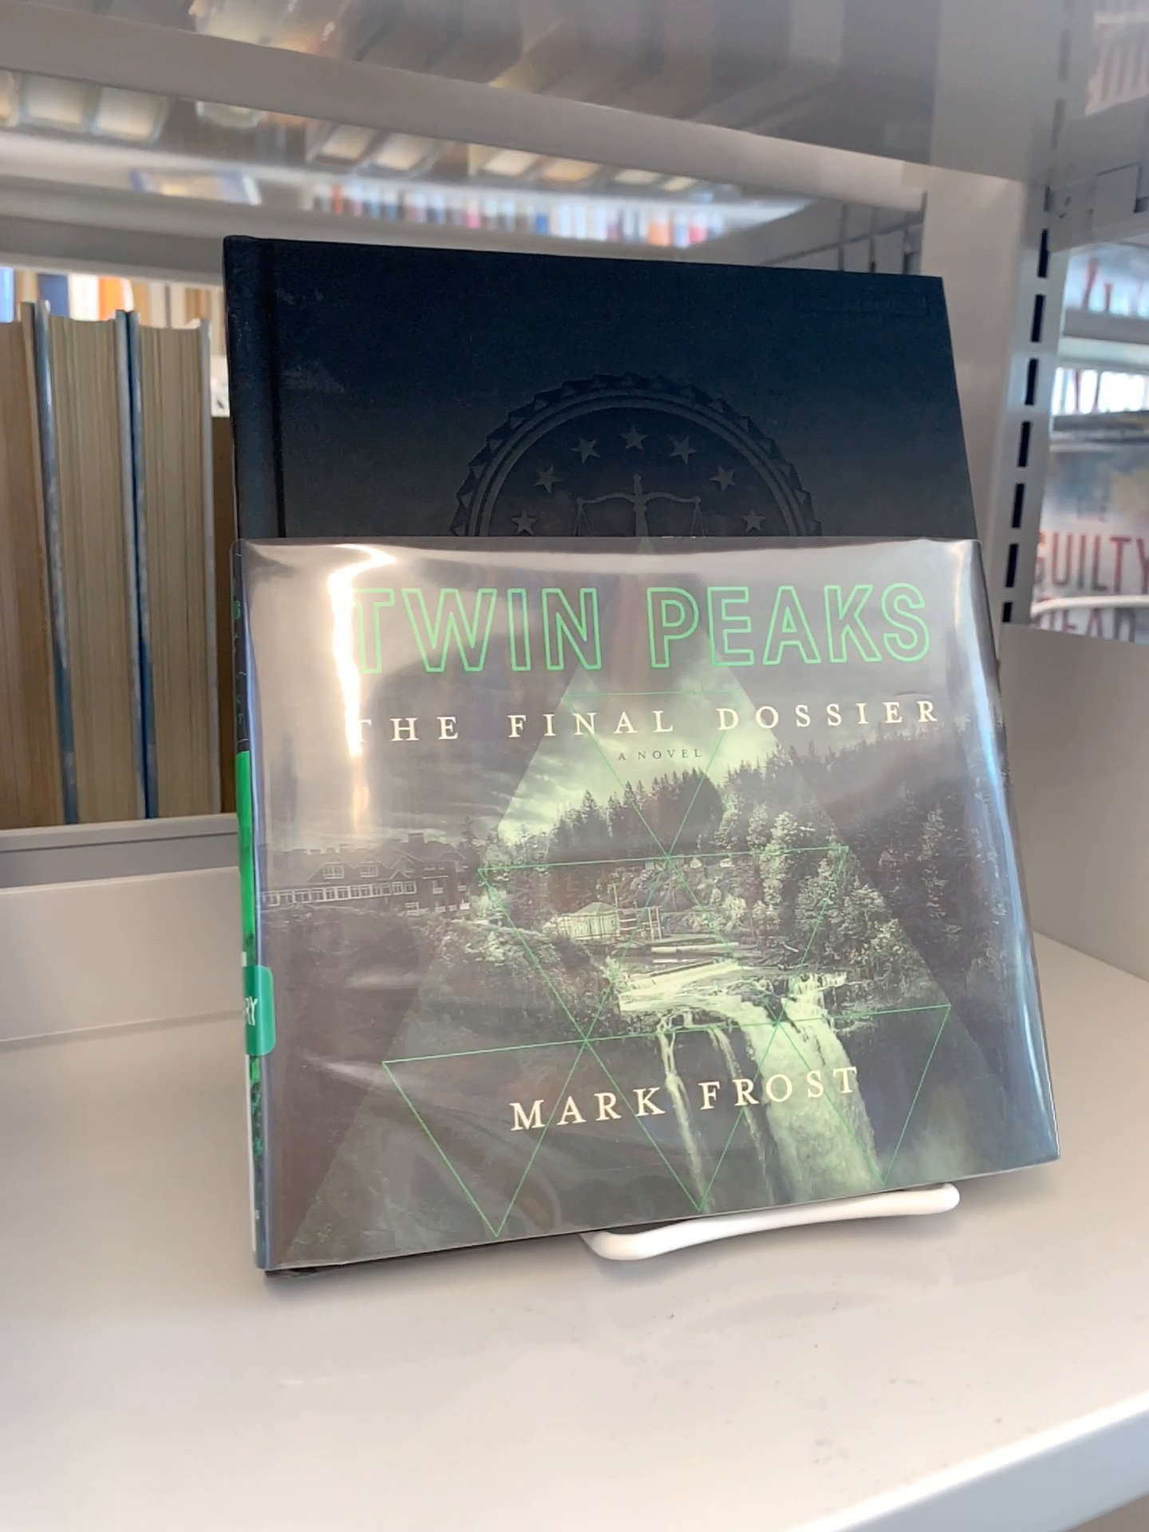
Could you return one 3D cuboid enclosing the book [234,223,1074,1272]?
[{"bbox_3d":[0.020,-0.012,0.288,0.190,0.228,0.020,-2,-6,-14],"label":"book"}]
